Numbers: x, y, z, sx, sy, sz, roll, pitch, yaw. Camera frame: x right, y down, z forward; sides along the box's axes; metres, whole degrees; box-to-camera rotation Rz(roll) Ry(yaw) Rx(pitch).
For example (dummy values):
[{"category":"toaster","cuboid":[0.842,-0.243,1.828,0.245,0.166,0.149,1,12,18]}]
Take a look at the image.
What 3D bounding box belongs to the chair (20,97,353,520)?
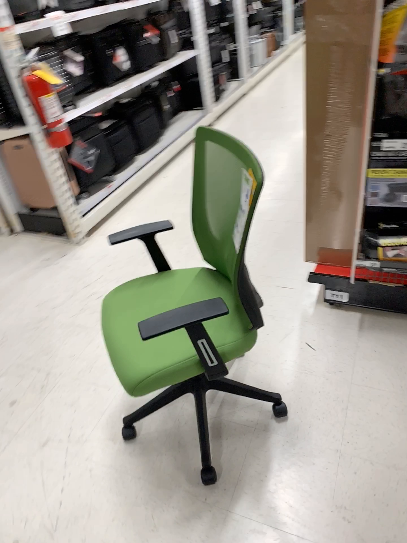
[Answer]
[{"category":"chair","cuboid":[-0.052,0.092,1.331,0.670,0.995,0.673,-19,36,-13]}]
